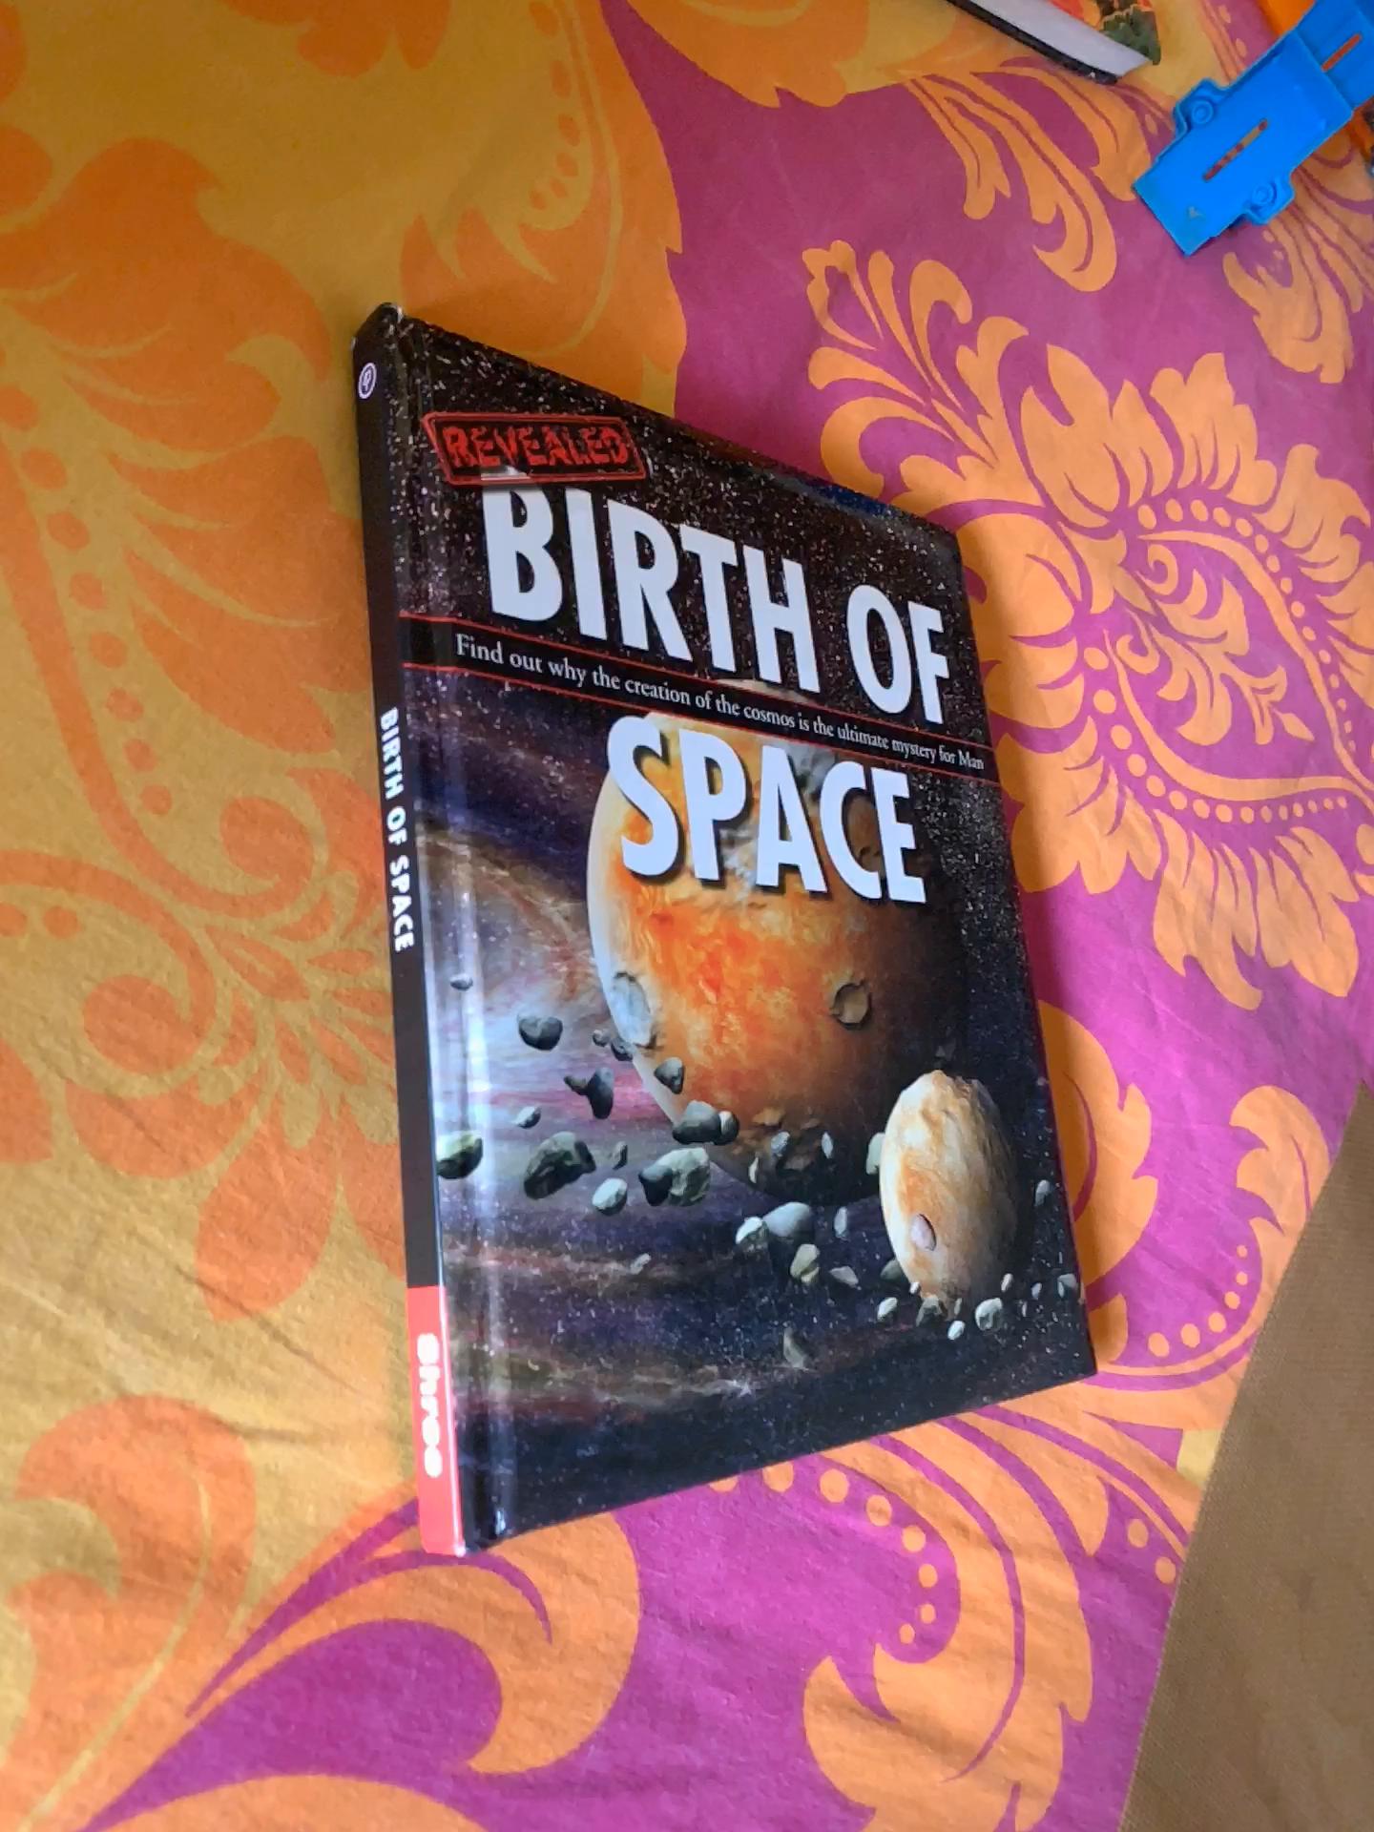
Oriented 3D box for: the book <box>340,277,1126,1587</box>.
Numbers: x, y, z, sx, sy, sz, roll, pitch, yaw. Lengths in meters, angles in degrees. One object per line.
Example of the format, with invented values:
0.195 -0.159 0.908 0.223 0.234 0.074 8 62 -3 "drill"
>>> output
0.021 -0.001 0.348 0.212 0.020 0.258 5 74 -41 "book"
